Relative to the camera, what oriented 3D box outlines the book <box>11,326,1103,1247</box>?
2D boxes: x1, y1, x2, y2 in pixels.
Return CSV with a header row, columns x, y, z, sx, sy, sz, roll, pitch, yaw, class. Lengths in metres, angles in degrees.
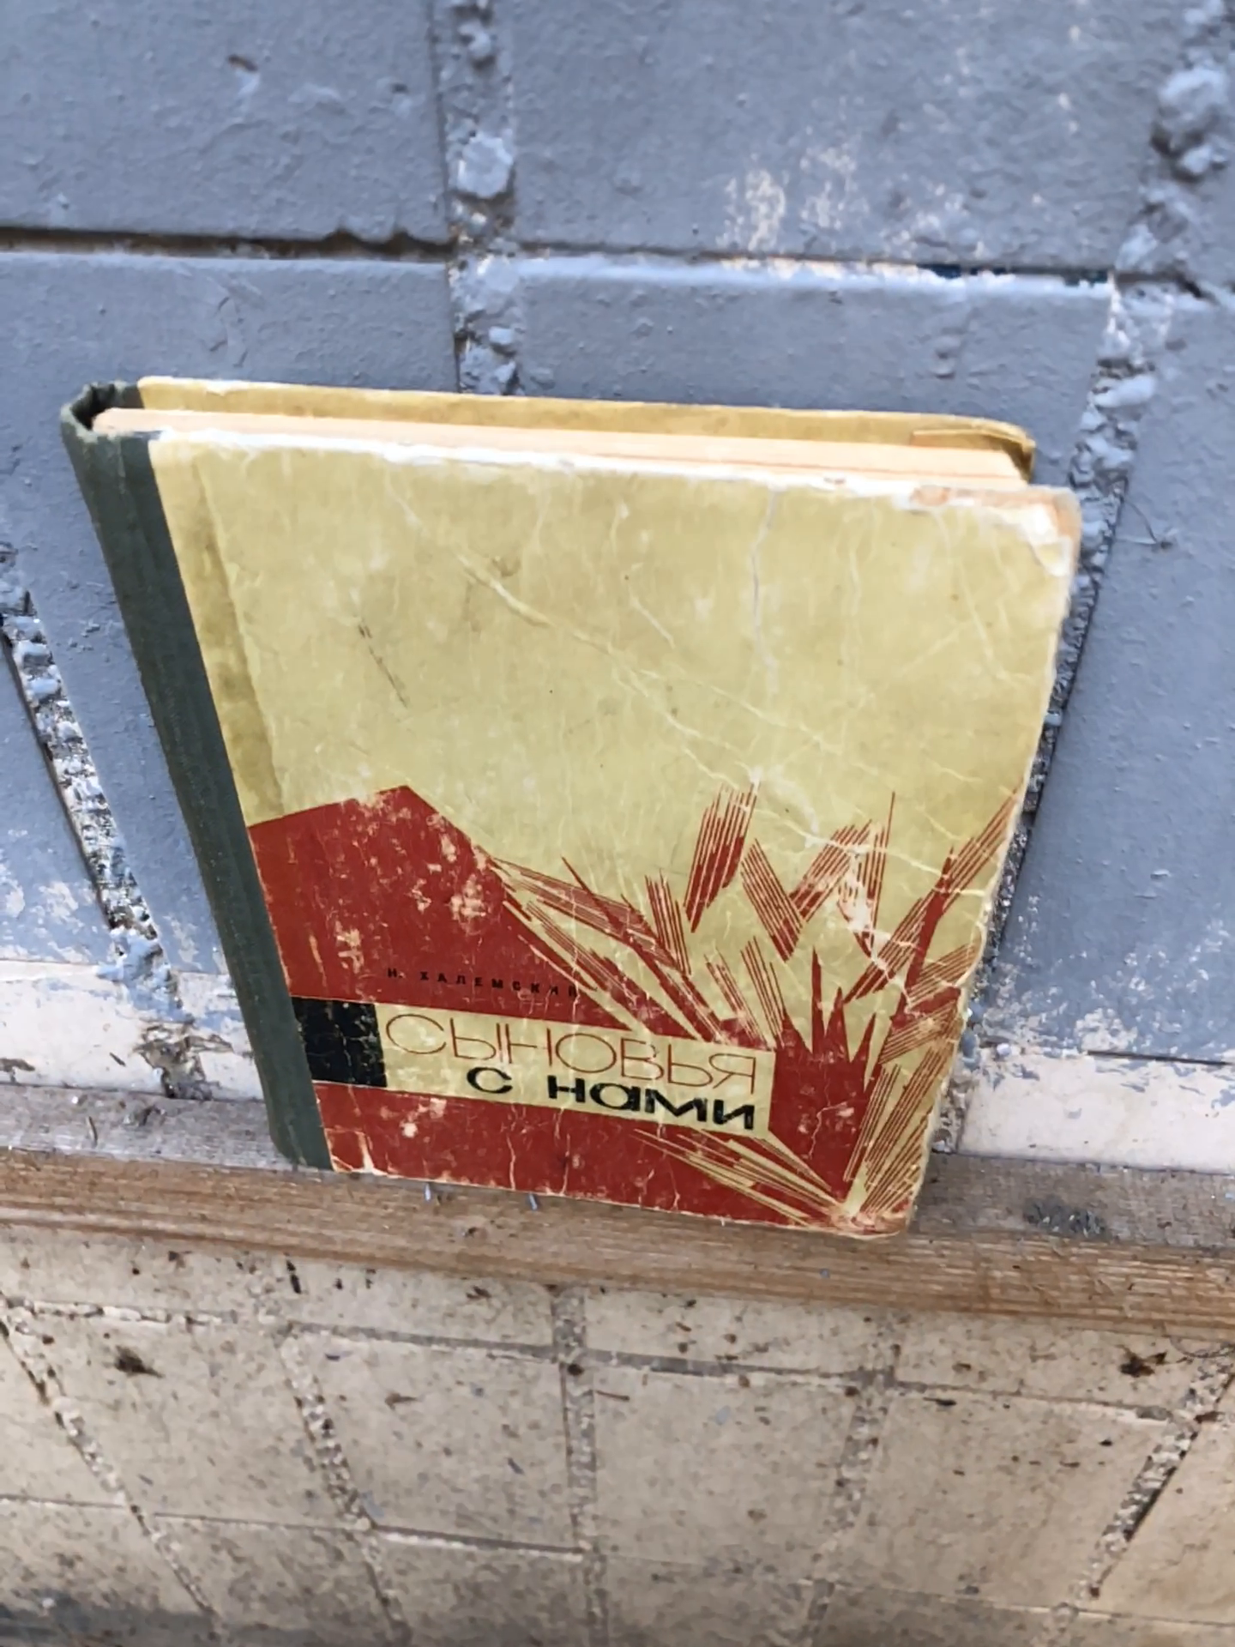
x,y,z,sx,sy,sz,roll,pitch,yaw,class
-0.008,0.004,0.237,0.140,0.162,0.032,5,40,6,book
